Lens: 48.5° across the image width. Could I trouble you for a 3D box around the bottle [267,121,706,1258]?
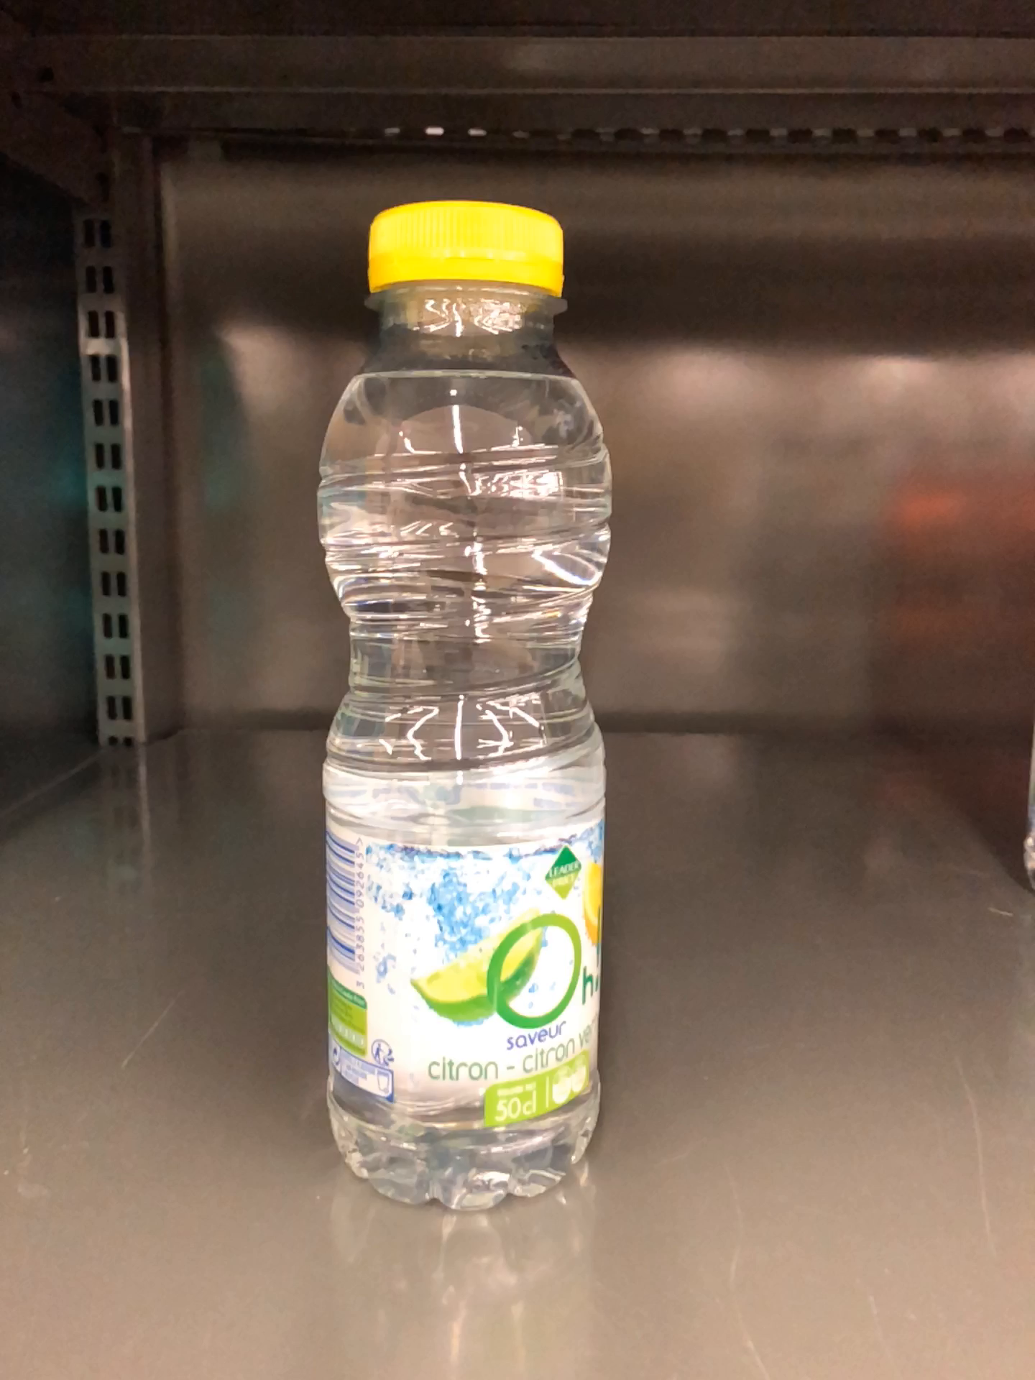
[{"bbox_3d":[-0.009,0.000,0.253,0.070,0.210,0.060,-5,10,-32],"label":"bottle"}]
